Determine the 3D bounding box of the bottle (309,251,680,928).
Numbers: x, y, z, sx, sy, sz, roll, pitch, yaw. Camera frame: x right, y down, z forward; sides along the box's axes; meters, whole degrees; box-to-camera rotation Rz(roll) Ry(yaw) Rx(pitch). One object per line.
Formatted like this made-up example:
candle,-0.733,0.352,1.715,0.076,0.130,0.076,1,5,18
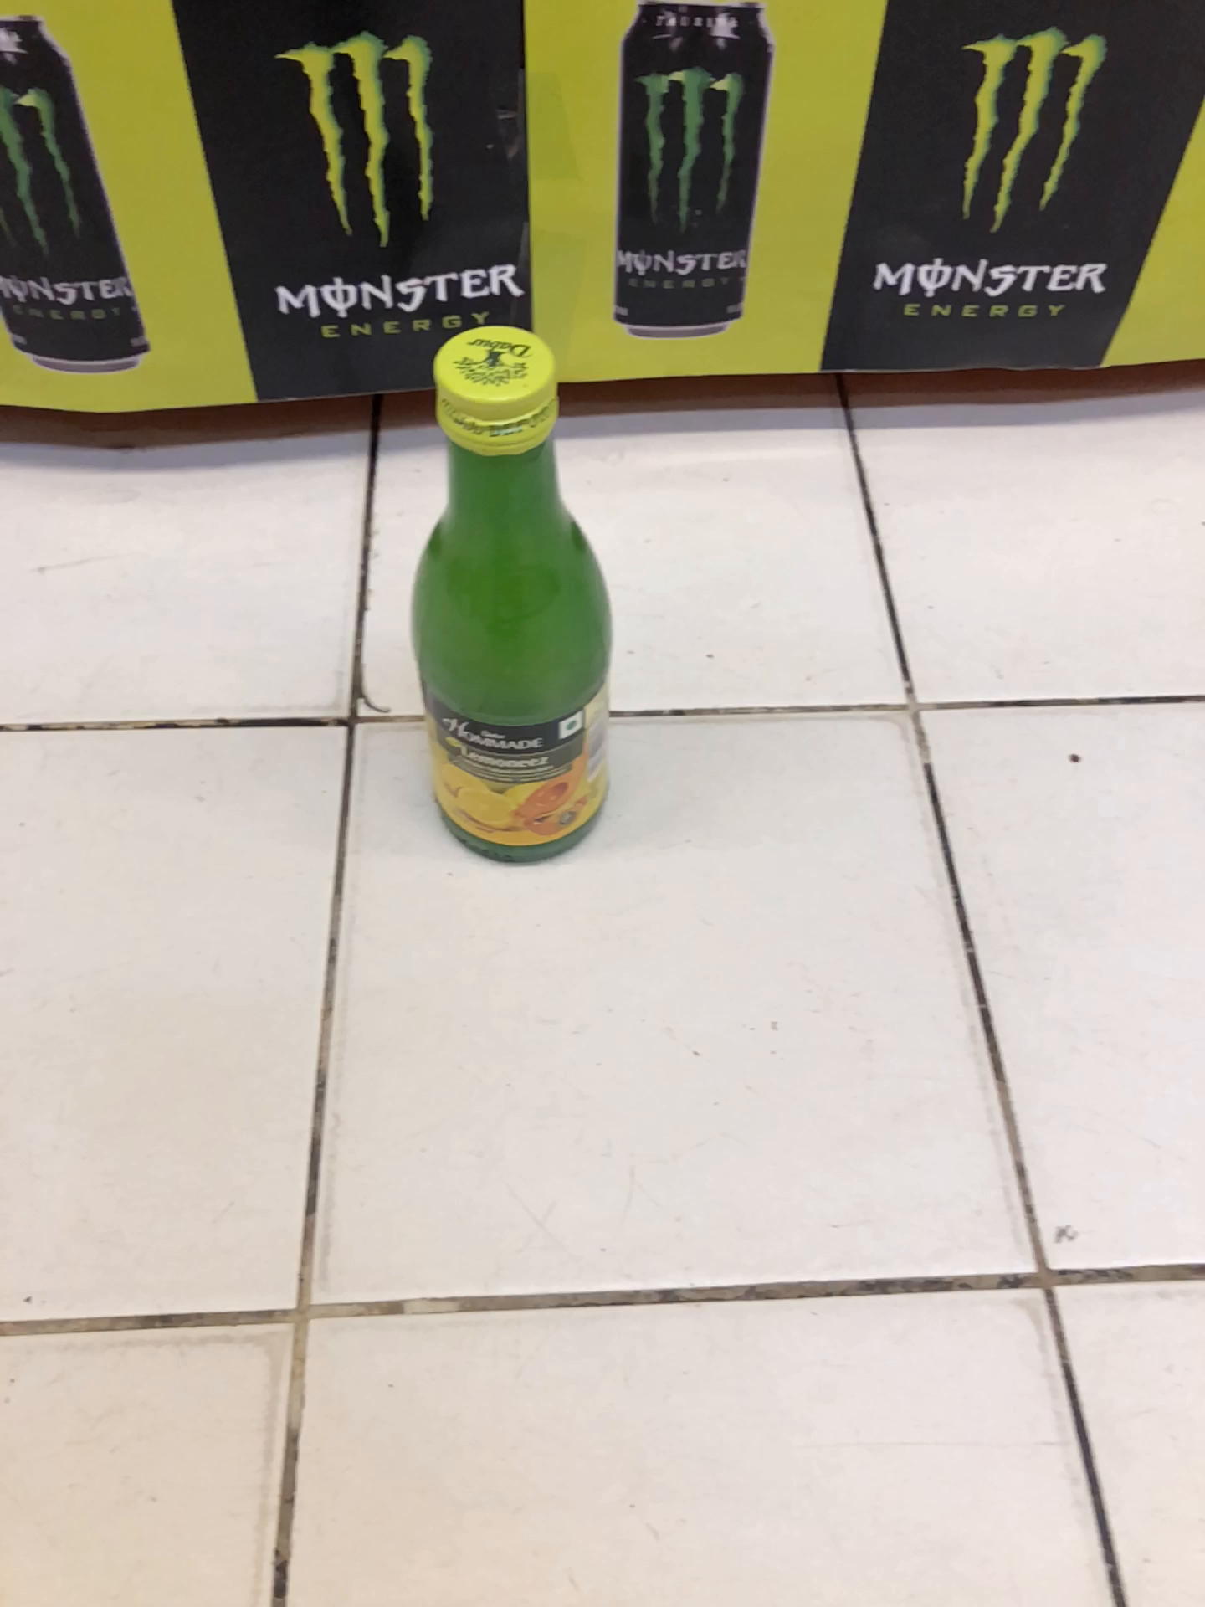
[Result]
bottle,-0.024,-0.047,0.371,0.070,0.179,0.070,1,53,-1
